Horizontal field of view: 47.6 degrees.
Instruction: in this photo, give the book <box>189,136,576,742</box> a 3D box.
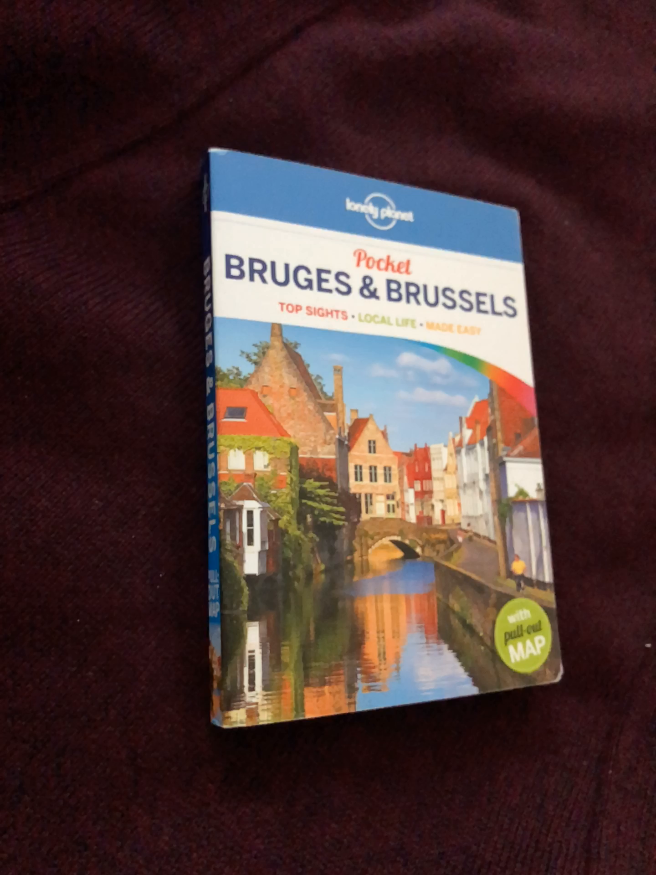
[{"bbox_3d":[0.016,-0.002,0.220,0.110,0.016,0.158,2,78,-25],"label":"book"}]
